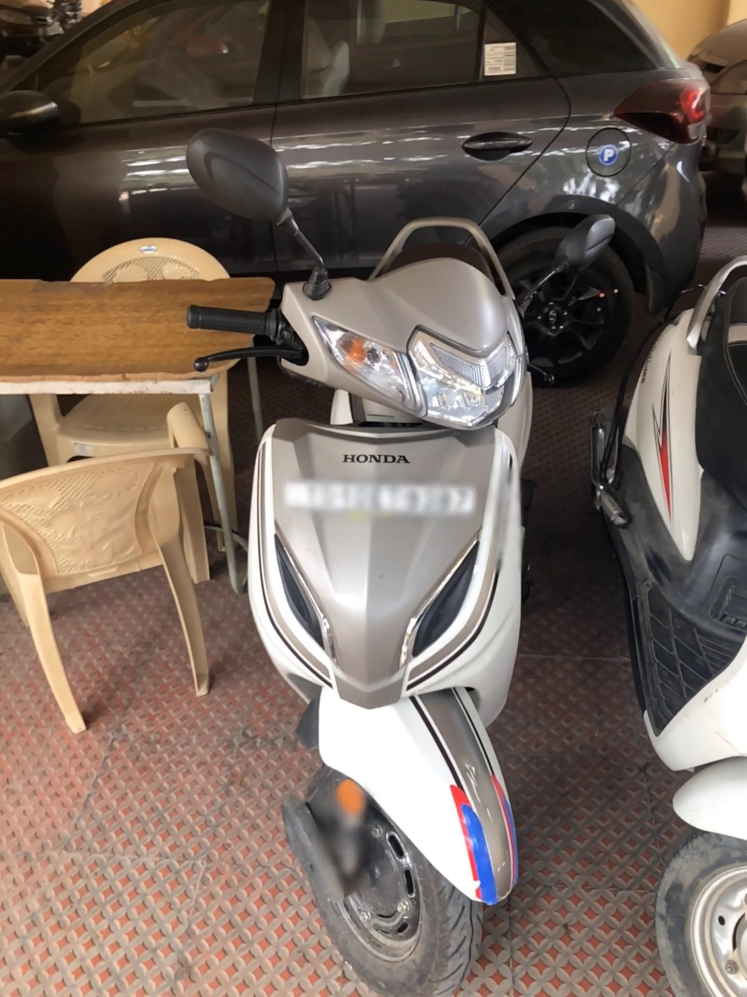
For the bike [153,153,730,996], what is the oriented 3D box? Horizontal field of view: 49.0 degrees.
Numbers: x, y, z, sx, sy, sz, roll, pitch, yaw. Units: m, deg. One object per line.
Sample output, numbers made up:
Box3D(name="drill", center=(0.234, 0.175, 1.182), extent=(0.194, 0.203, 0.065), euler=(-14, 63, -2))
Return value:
Box3D(name="bike", center=(0.102, 0.030, 1.668), extent=(0.626, 0.850, 1.464), euler=(-1, 40, 3))
